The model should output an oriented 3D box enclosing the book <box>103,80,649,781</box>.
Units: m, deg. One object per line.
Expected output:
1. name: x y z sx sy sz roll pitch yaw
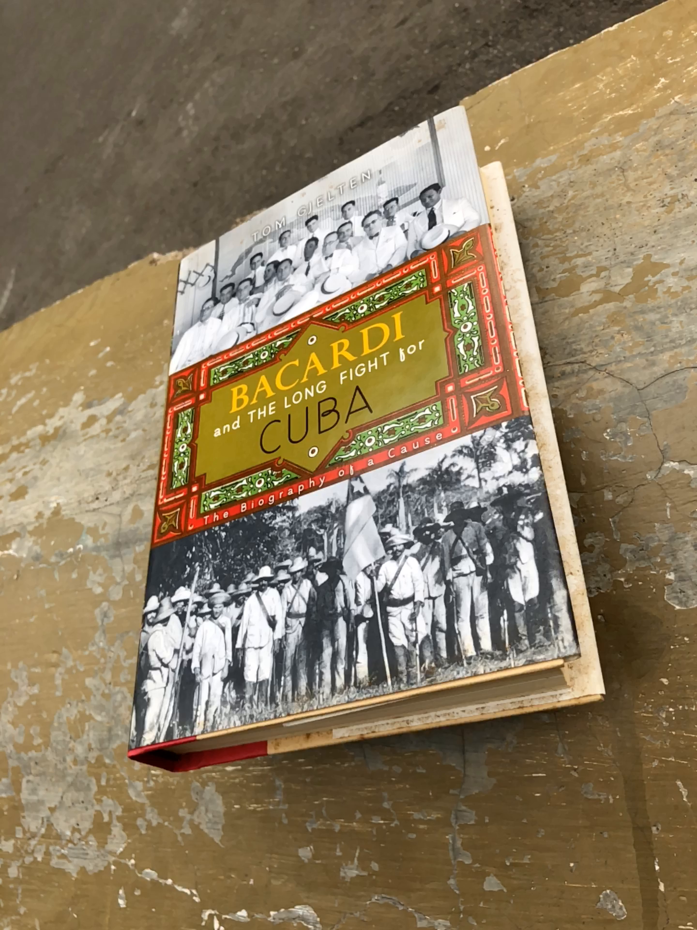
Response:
1. book: -0.001 -0.020 0.315 0.170 0.050 0.250 -20 52 25
